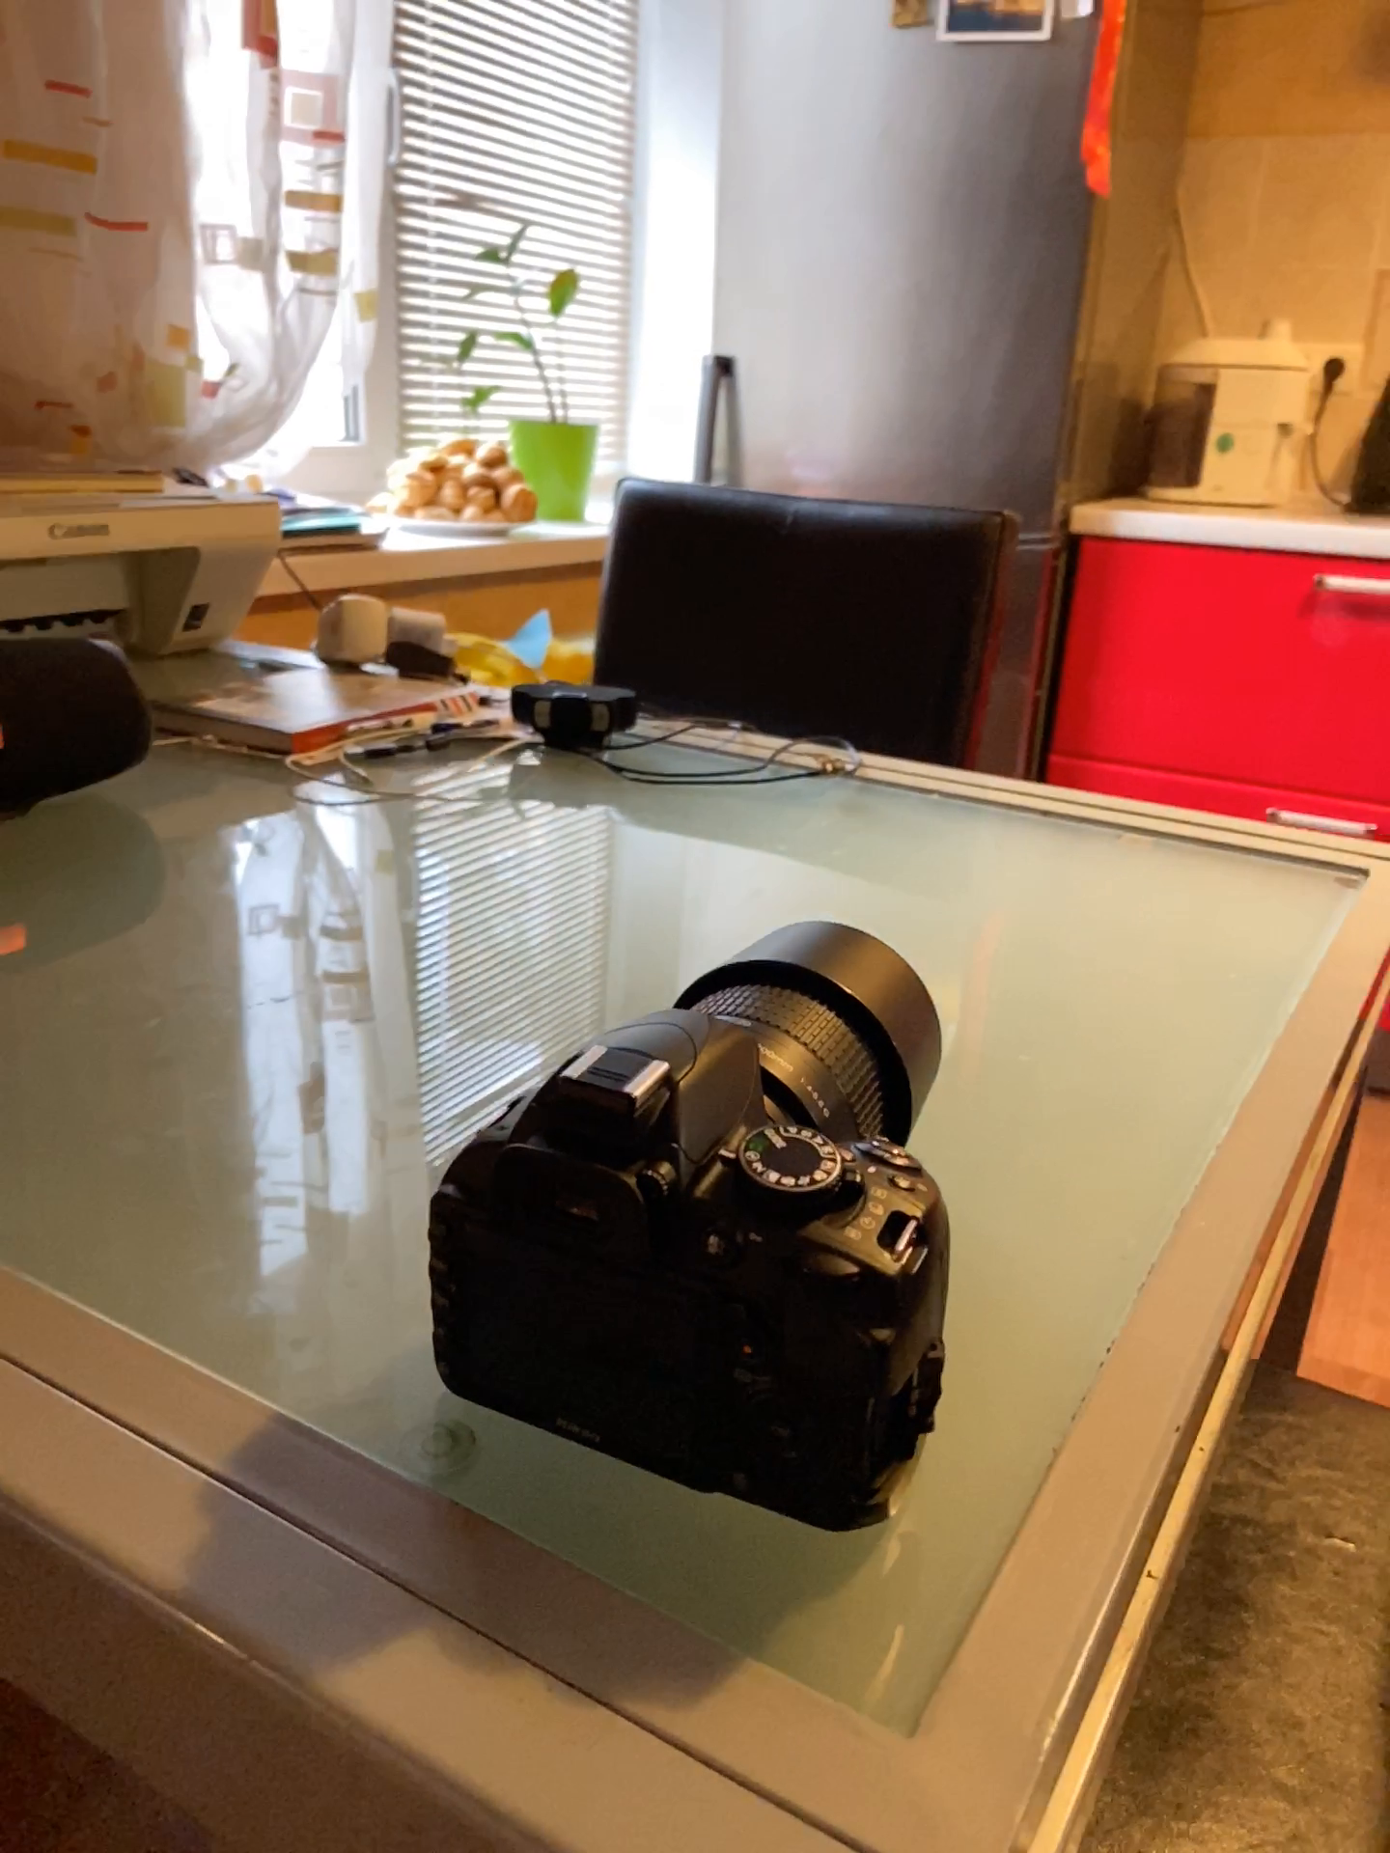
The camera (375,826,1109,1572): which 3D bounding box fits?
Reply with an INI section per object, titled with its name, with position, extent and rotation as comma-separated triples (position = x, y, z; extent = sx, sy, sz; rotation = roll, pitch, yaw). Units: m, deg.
[camera]
position = 0.027, 0.054, 0.417
extent = 0.134, 0.100, 0.209
rotation = 12, 22, 23
